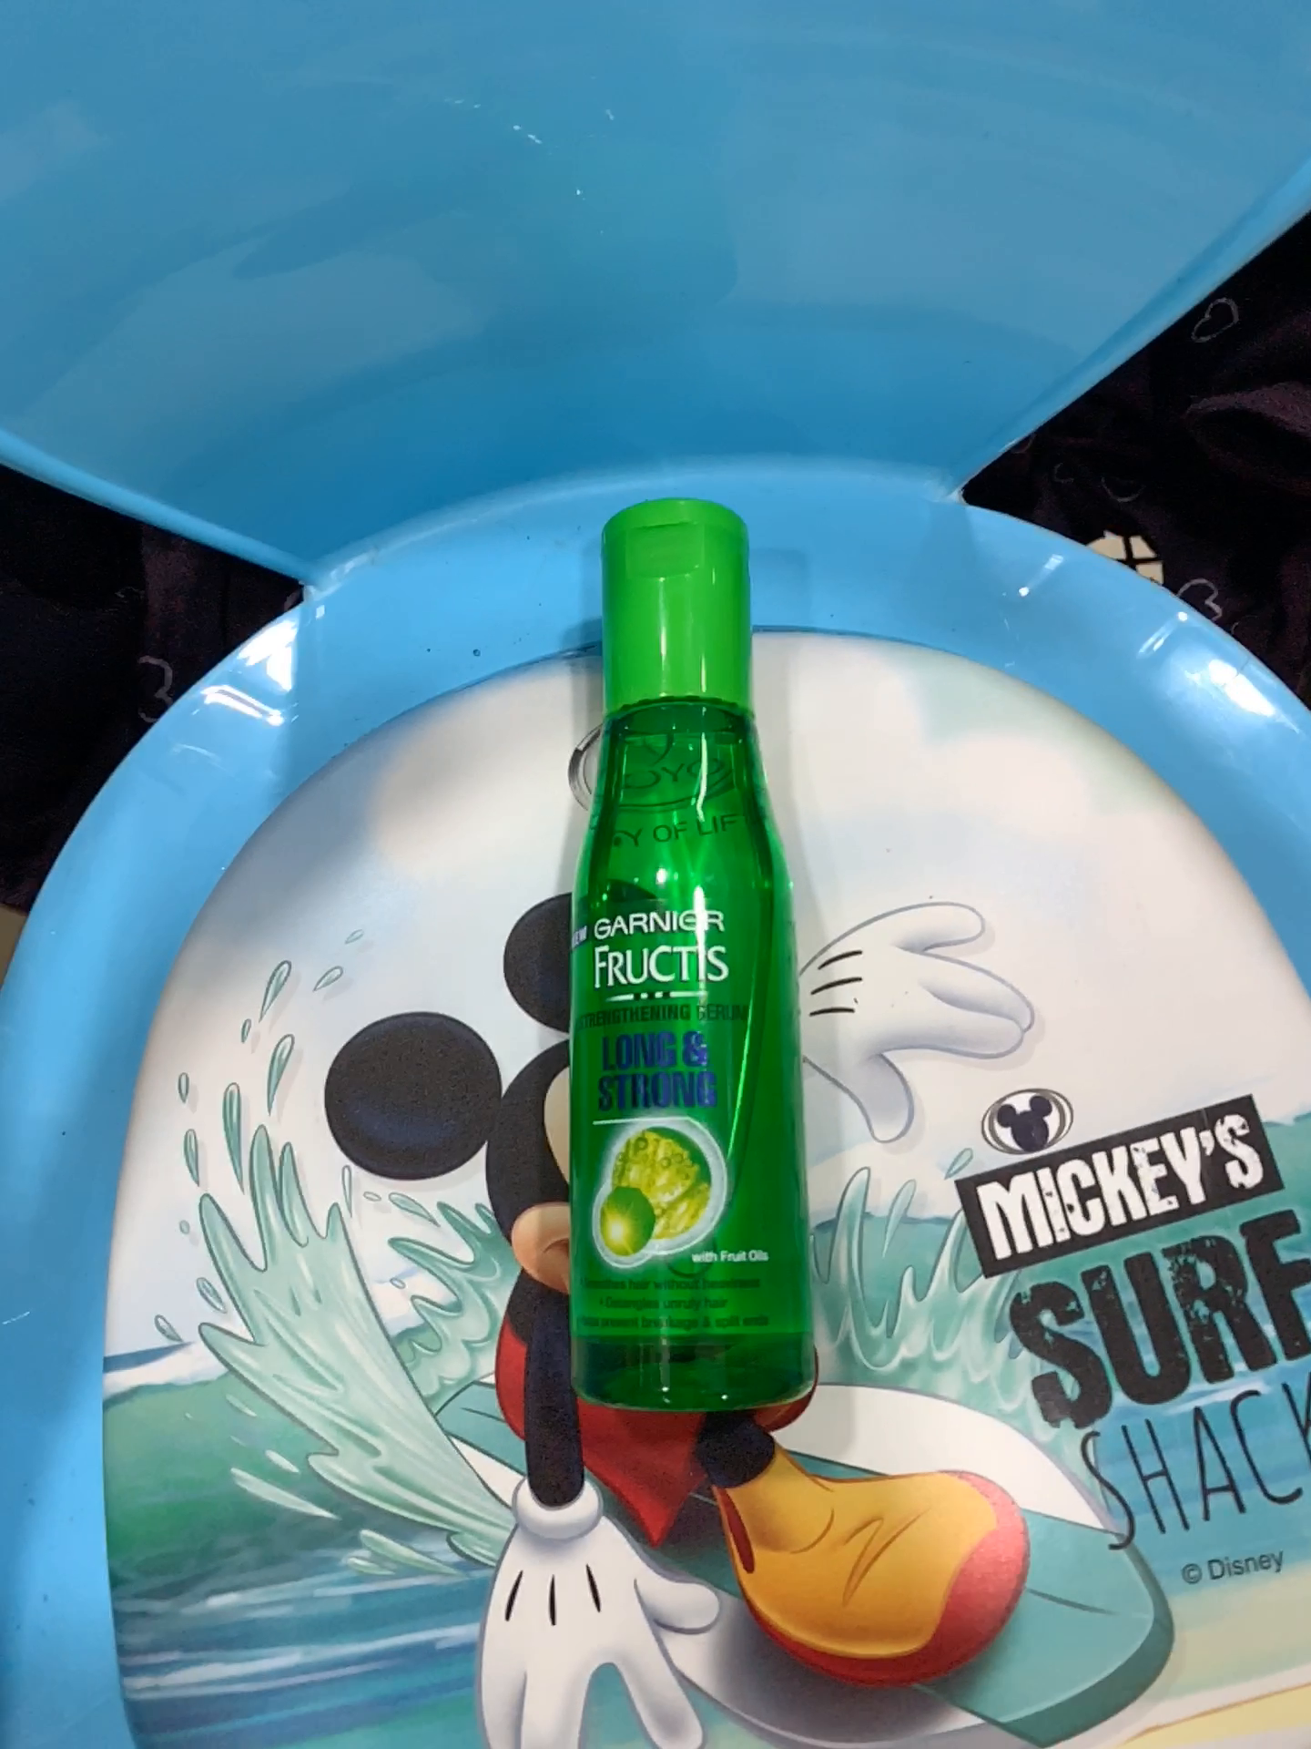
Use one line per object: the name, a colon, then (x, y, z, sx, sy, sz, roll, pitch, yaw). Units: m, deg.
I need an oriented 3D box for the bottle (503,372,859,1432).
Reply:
bottle: (0.004, 0.003, 0.224, 0.040, 0.040, 0.160, -8, 73, 25)
